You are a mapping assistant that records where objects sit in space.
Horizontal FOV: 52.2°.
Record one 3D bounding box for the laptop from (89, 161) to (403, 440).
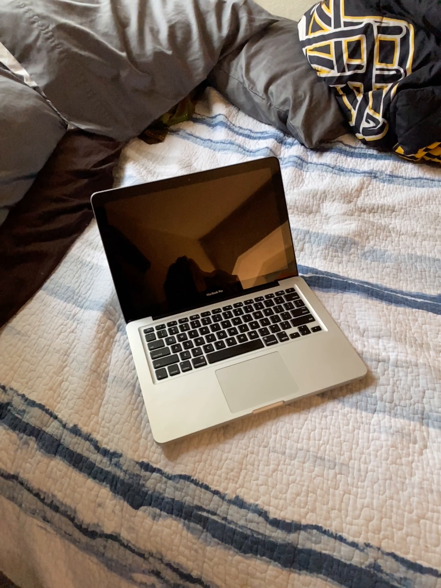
[{"bbox_3d":[0.006,-0.018,0.678,0.319,0.169,0.347,-15,46,-12],"label":"laptop"}]
